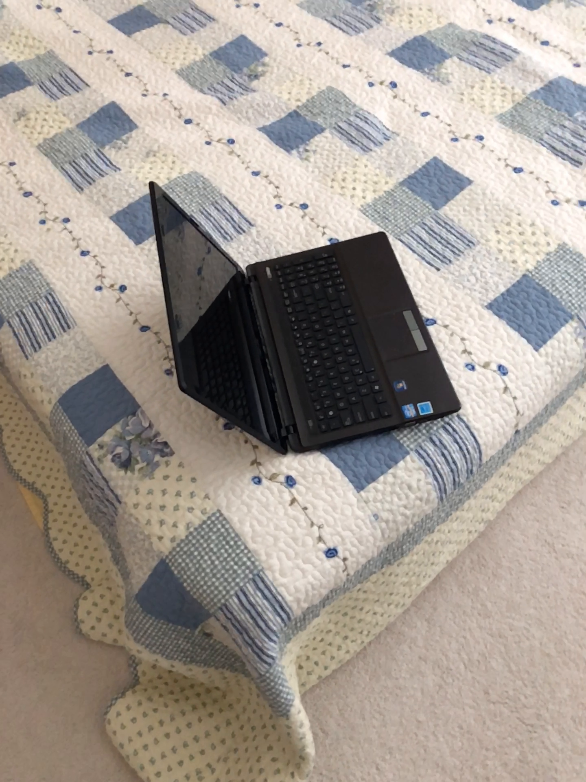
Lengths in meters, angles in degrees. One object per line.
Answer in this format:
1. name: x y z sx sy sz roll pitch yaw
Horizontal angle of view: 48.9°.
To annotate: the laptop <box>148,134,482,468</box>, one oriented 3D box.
1. laptop: 0.013 -0.133 0.896 0.350 0.193 0.359 -13 56 -3
